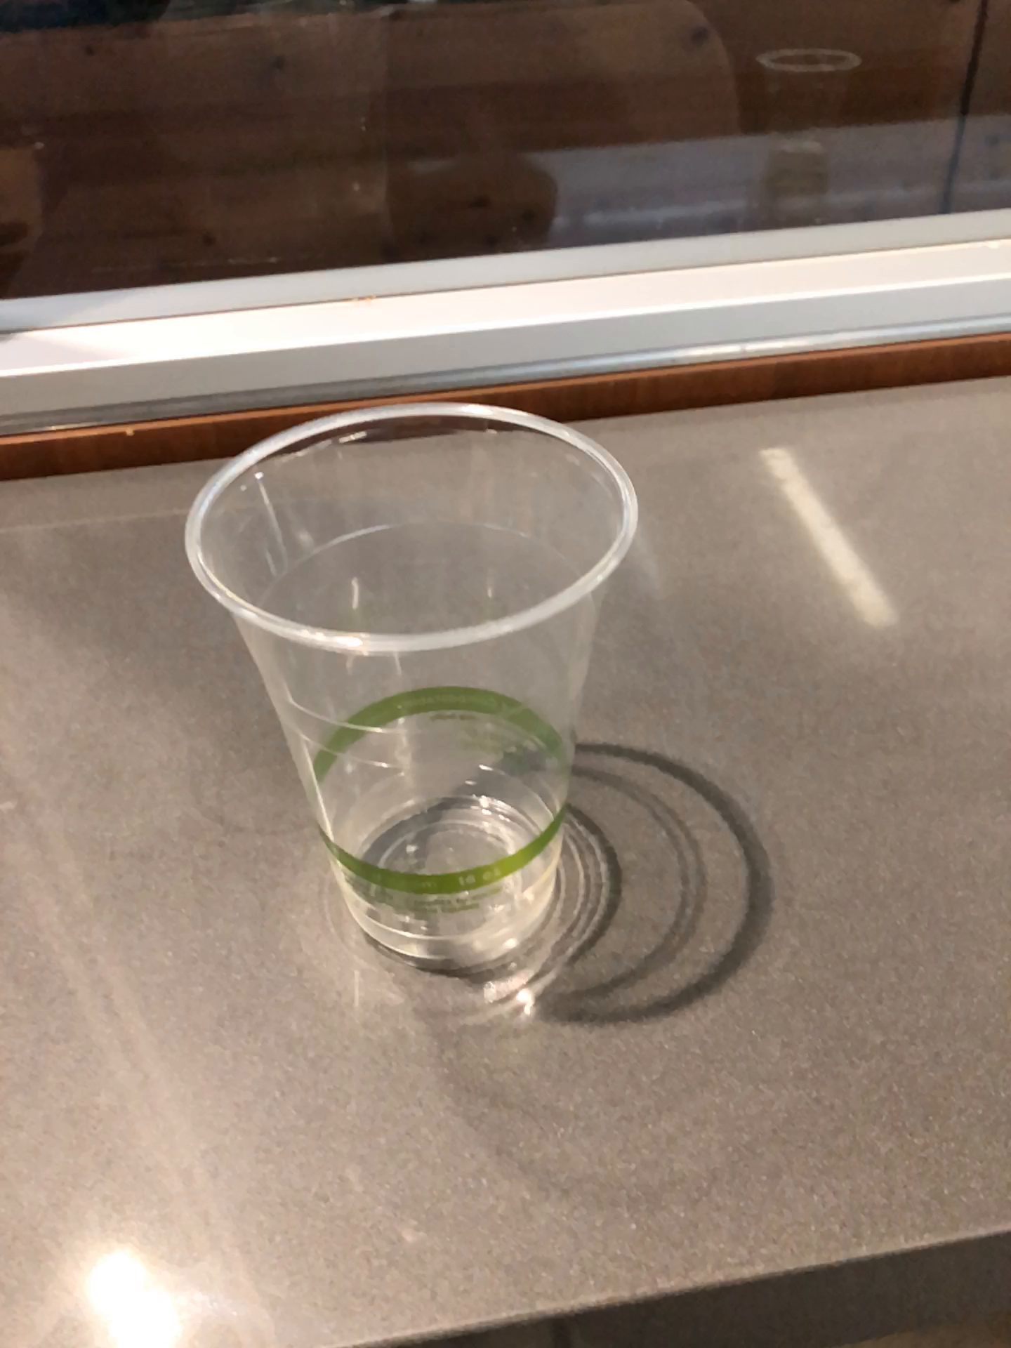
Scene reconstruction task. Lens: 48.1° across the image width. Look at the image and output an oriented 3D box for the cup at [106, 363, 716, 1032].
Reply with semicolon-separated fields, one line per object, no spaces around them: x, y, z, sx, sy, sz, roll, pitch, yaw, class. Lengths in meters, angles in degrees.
-0.013;0.000;0.281;0.100;0.109;0.100;-2;38;1;cup
